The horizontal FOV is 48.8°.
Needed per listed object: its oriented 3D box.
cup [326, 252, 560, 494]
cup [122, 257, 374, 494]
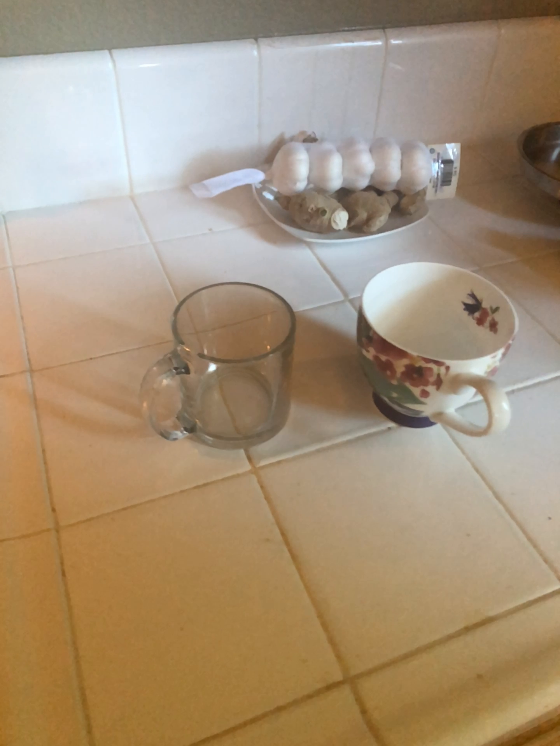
[{"bbox_3d":[0.111,-0.006,0.437,0.110,0.079,0.141,-10,47,-13],"label":"cup"},{"bbox_3d":[-0.023,-0.003,0.426,0.131,0.079,0.100,-22,51,-23],"label":"cup"}]
